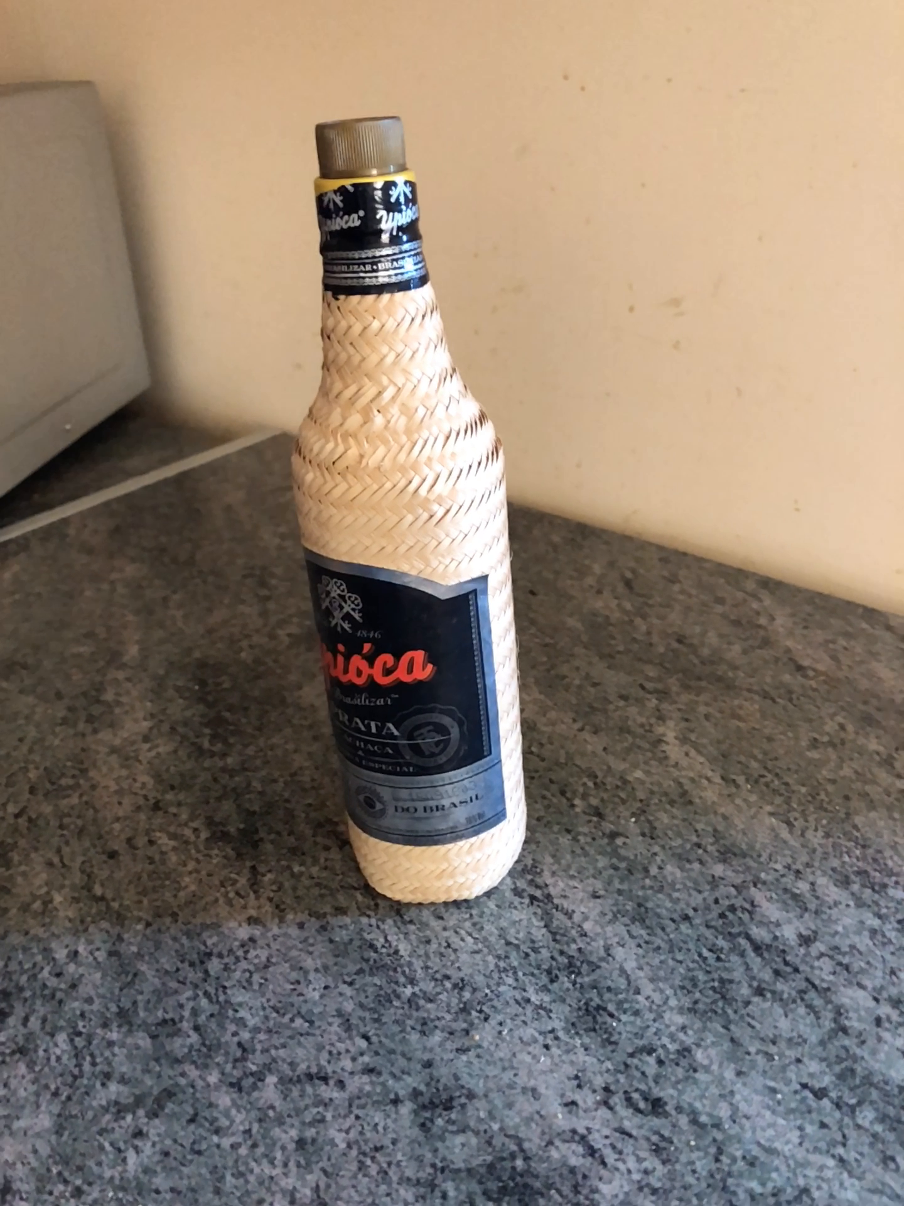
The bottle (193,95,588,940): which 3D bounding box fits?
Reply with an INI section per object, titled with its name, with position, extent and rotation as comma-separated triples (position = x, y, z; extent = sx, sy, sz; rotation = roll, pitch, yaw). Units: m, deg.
[bottle]
position = -0.017, -0.026, 0.372
extent = 0.090, 0.288, 0.080
rotation = 23, 36, 37
